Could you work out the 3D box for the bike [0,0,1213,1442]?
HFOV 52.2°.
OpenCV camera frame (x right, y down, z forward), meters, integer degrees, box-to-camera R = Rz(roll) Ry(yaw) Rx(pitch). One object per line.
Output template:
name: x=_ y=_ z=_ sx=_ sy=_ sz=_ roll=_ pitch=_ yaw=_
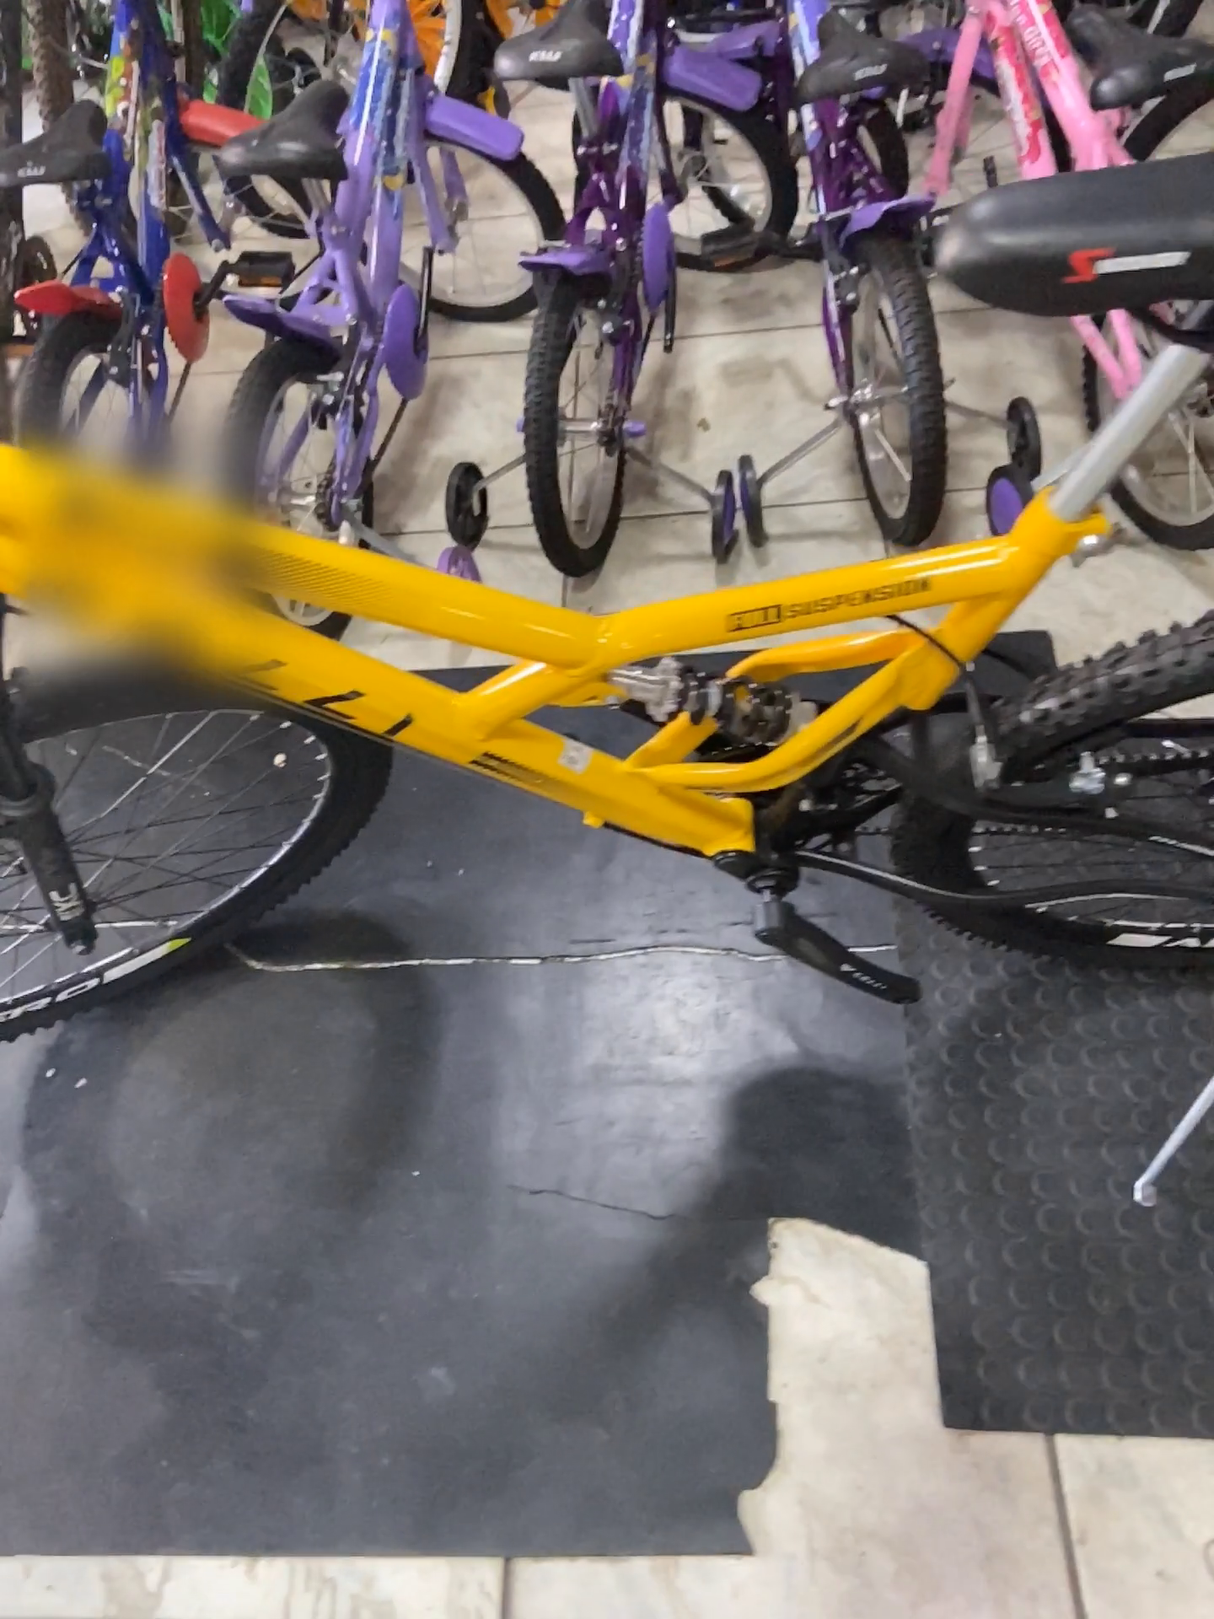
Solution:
bike: x=0.025 y=-0.071 z=0.729 sx=1.520 sy=0.988 sz=0.477 roll=-6 pitch=51 yaw=0
